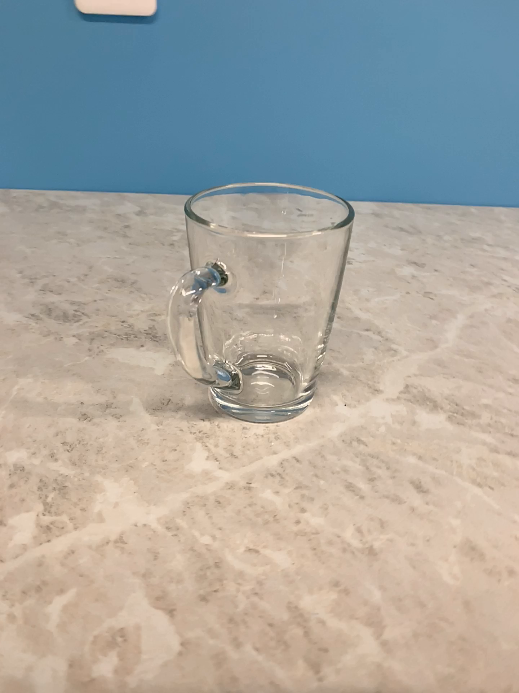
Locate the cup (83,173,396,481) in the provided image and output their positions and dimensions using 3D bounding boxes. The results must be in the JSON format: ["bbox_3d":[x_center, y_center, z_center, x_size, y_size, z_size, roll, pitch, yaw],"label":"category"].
[{"bbox_3d":[-0.007,-0.021,0.272,0.089,0.097,0.116,25,38,33],"label":"cup"}]
